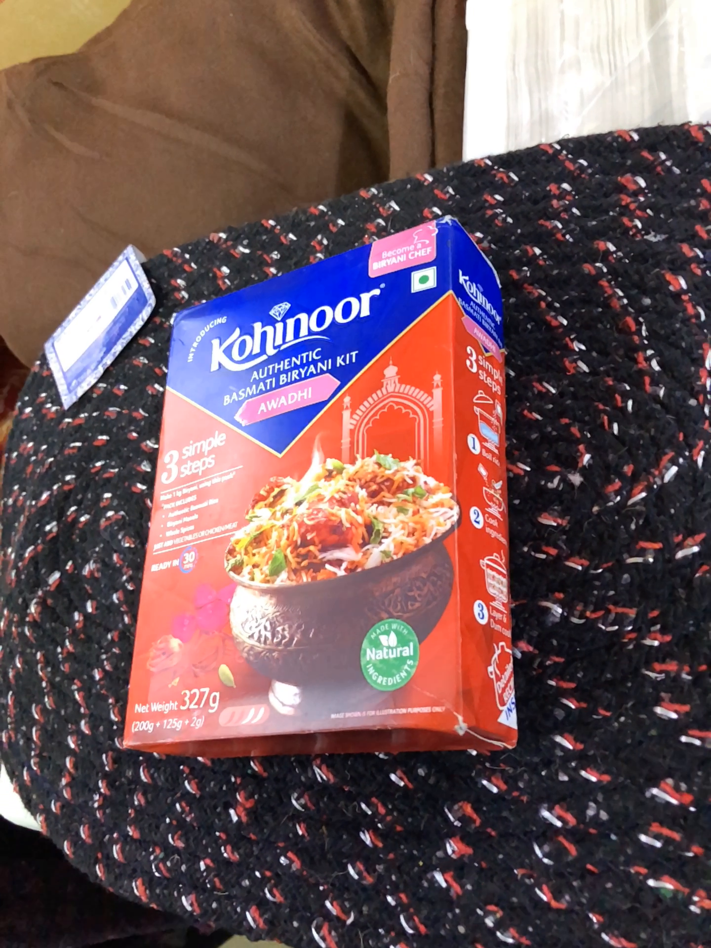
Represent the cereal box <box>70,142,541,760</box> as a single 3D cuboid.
[{"bbox_3d":[-0.020,-0.002,0.266,0.140,0.040,0.180,-13,64,29],"label":"cereal box"}]
